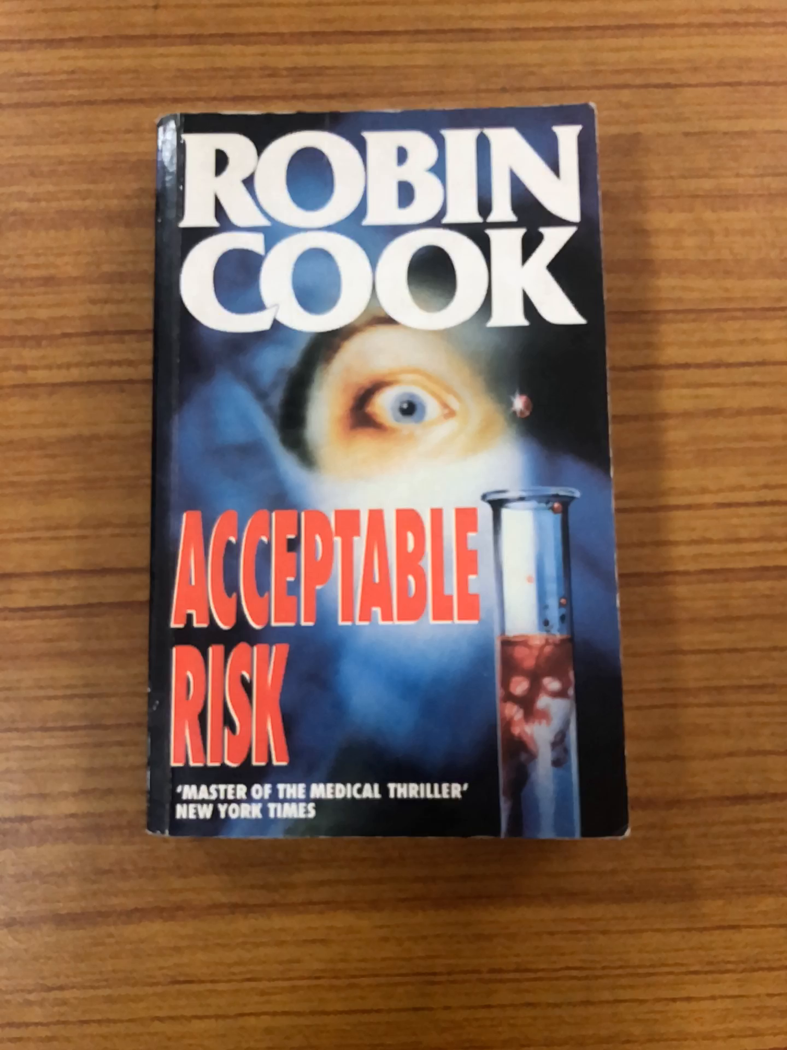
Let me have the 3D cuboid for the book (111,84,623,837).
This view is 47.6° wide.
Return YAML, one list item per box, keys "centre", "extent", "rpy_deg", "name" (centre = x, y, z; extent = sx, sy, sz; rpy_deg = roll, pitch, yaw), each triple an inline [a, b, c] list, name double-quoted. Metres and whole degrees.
- centre: [-0.007, -0.016, 0.221]
  extent: [0.110, 0.040, 0.170]
  rpy_deg: [-1, 84, -1]
  name: "book"
